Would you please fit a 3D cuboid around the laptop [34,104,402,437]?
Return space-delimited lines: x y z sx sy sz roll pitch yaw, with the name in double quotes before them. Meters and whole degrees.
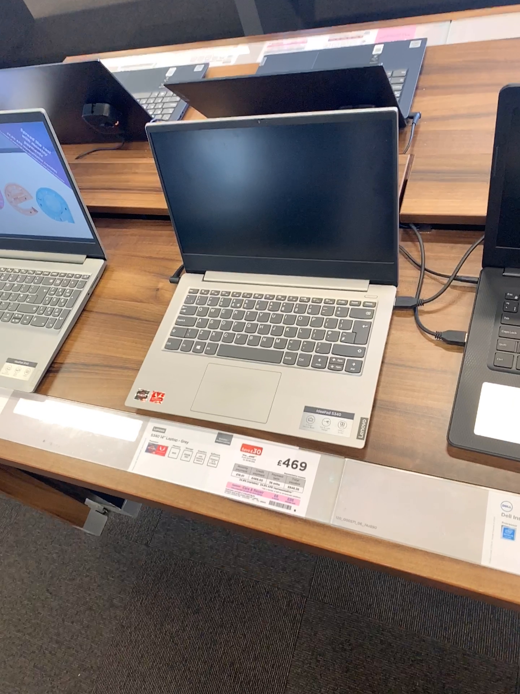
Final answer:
"laptop" -0.021 -0.098 0.635 0.316 0.199 0.295 7 61 23
